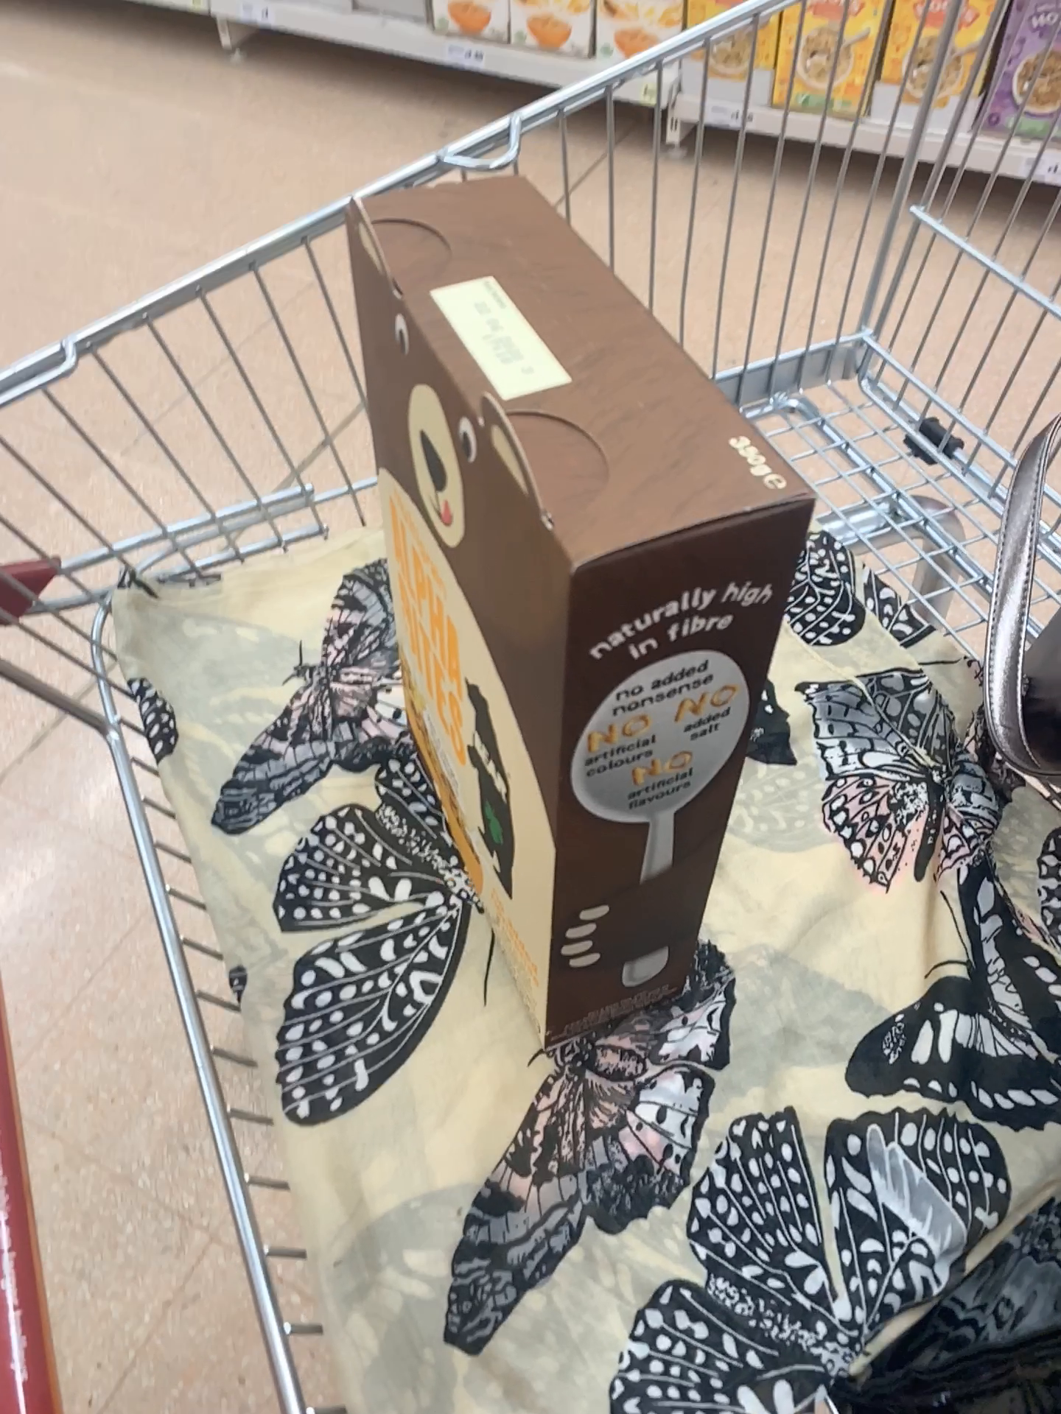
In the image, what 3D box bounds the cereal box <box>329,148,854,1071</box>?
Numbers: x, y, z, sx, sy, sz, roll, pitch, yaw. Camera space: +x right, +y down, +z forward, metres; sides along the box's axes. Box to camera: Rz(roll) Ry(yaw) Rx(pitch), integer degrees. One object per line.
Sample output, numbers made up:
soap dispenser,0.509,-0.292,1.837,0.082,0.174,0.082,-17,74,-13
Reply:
cereal box,0.003,-0.018,0.422,0.070,0.298,0.201,-18,53,-15
